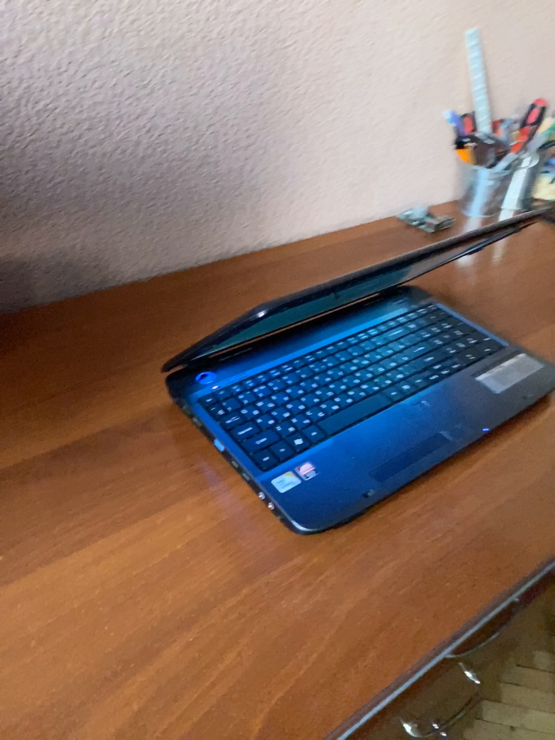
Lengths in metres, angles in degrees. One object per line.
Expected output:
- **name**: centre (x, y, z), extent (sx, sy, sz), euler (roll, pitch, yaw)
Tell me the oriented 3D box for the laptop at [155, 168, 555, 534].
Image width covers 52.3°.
- **laptop**: centre (0.109, -0.058, 0.581), extent (0.381, 0.162, 0.241), euler (-23, 44, -30)
